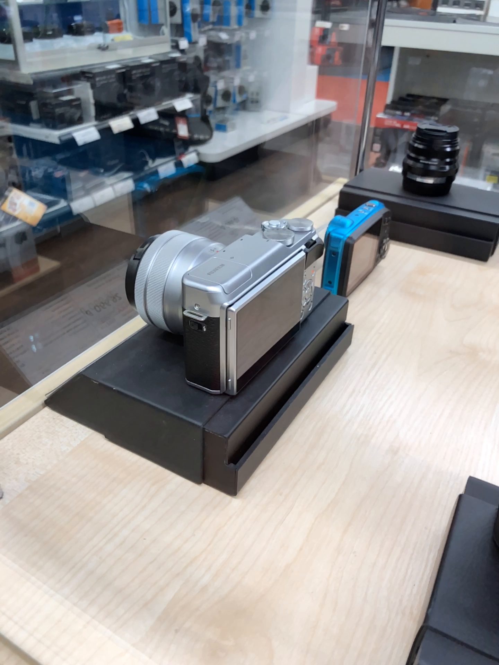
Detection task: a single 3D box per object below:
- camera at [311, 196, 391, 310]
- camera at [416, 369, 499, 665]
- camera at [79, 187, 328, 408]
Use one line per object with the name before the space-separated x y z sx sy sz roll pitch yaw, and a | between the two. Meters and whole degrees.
camera | 0.092 -0.074 0.494 0.025 0.064 0.106 19 36 24
camera | 0.159 0.102 0.141 0.187 0.074 0.130 18 36 23
camera | -0.022 -0.030 0.338 0.093 0.070 0.120 19 36 24
